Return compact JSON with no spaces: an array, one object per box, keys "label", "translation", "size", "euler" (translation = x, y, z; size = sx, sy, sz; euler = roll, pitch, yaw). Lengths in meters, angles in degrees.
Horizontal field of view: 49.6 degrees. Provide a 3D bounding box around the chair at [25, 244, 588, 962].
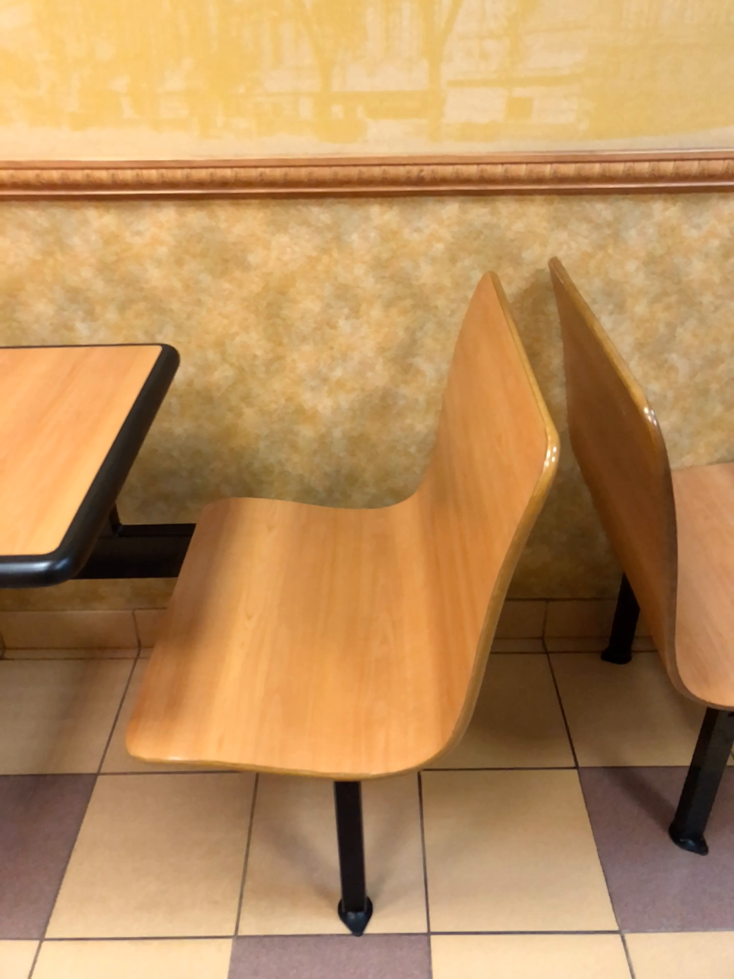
[{"label":"chair","translation":[-0.047,0.159,1.222],"size":[0.510,0.885,0.634],"euler":[0,32,1]}]
